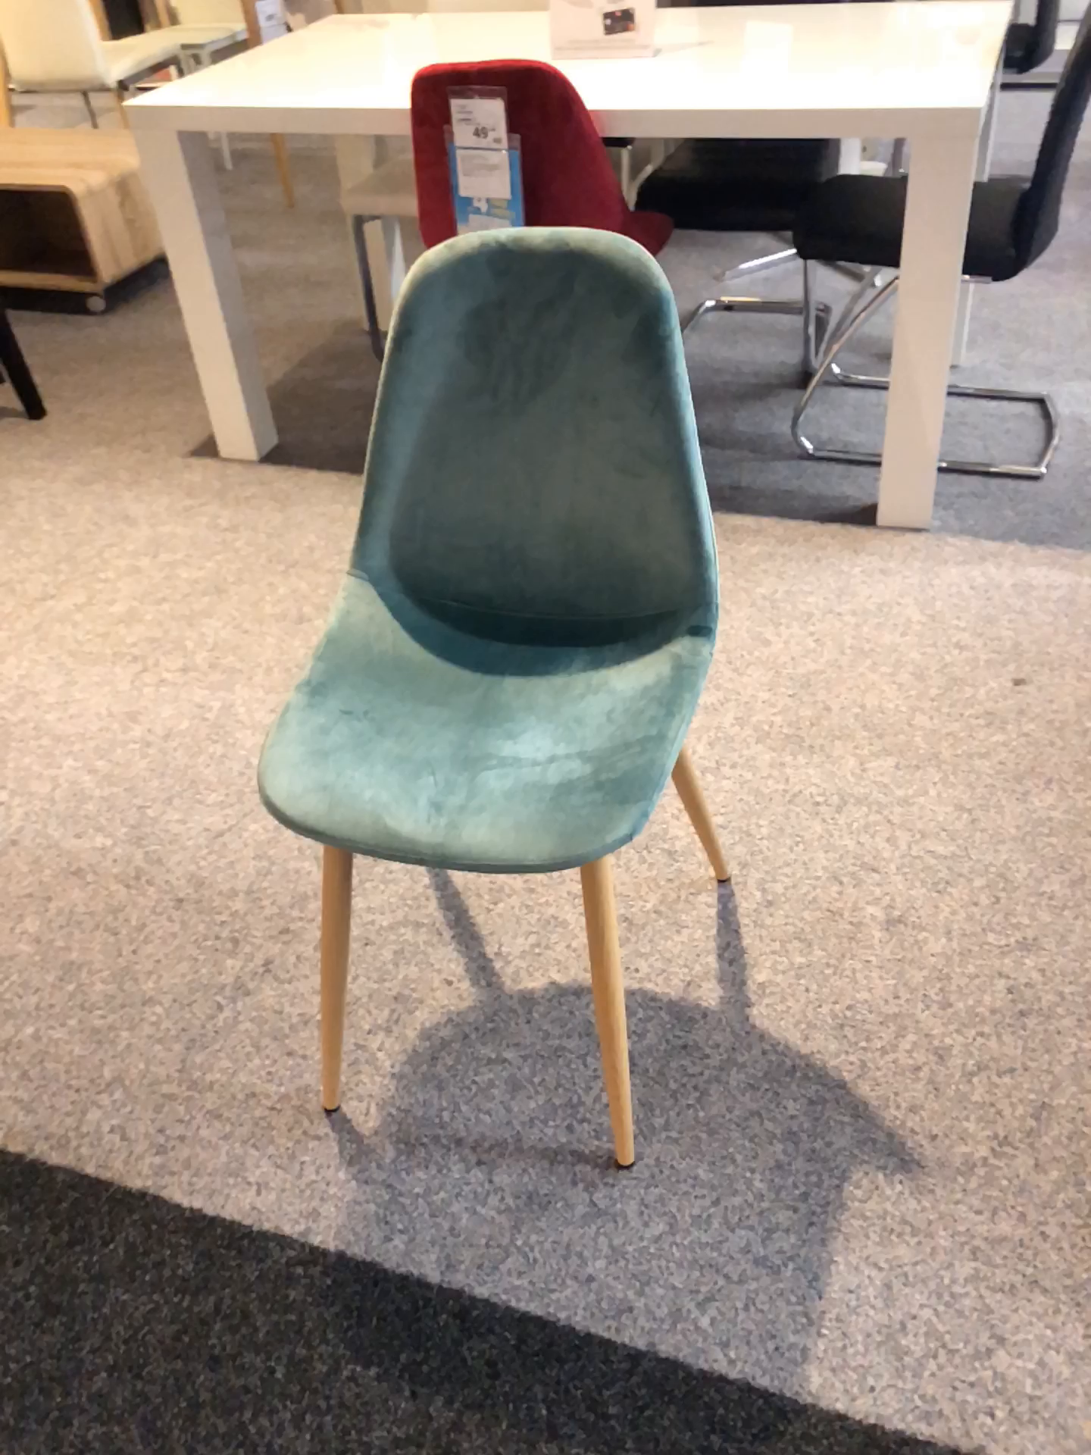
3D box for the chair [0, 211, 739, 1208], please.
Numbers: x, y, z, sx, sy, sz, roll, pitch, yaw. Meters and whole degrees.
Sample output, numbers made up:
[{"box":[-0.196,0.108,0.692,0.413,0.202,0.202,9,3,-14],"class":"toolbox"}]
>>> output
[{"box":[-0.075,-0.019,1.252,0.470,0.835,0.554,5,39,14],"class":"chair"}]
